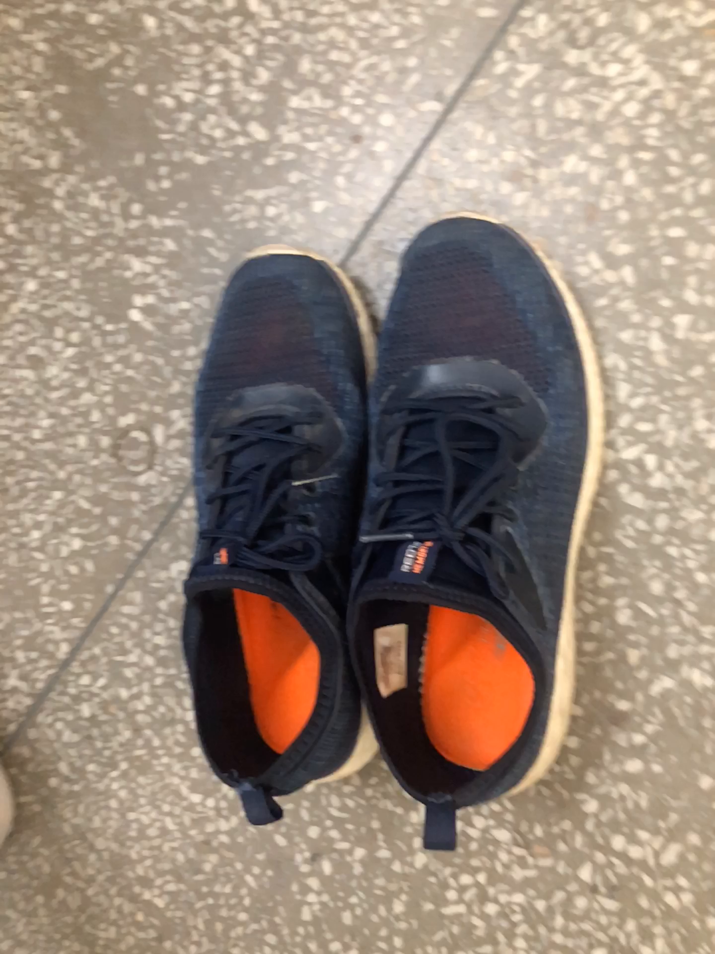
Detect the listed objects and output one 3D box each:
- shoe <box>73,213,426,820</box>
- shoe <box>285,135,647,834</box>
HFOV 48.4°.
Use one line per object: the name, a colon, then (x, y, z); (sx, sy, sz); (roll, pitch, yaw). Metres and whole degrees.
shoe: (-0.046, 0.019, 0.391); (0.113, 0.100, 0.249); (-5, 92, 21)
shoe: (0.055, 0.005, 0.351); (0.123, 0.100, 0.249); (-3, 93, 21)
